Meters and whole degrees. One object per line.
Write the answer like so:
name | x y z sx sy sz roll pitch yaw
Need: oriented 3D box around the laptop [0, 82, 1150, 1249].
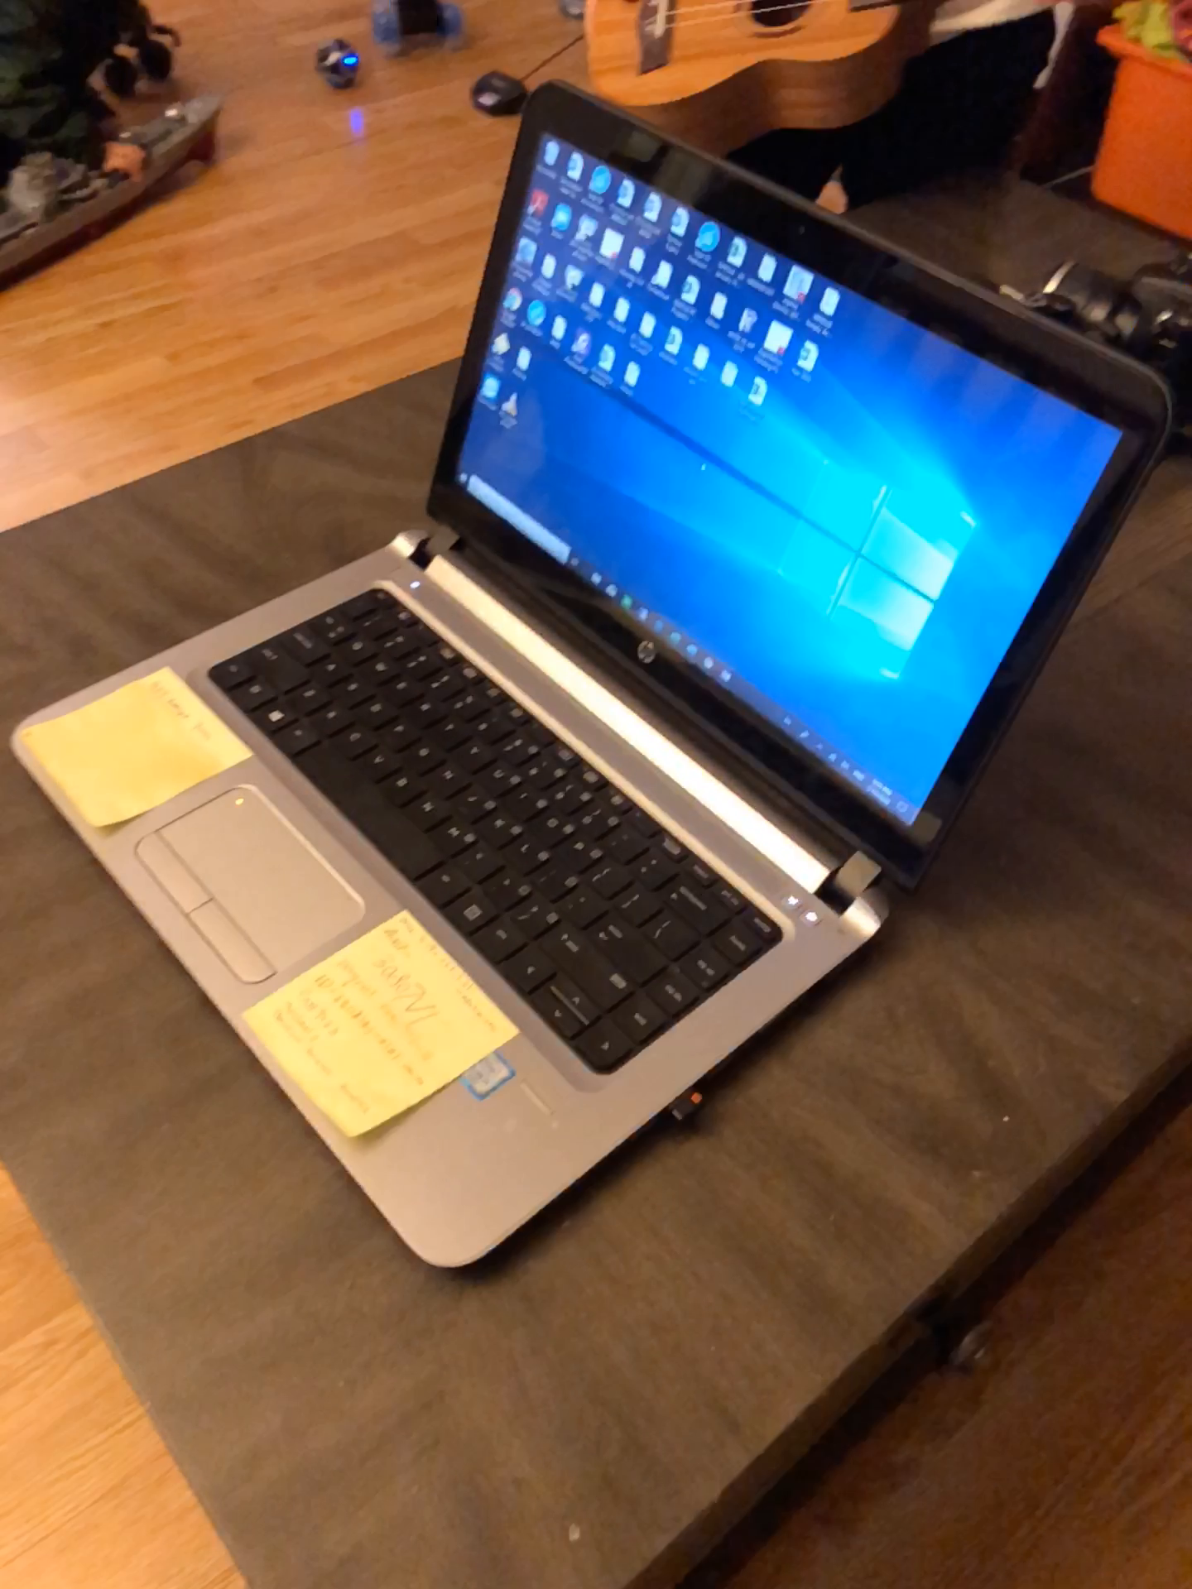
laptop | -0.042 -0.083 0.513 0.306 0.208 0.320 -32 57 -27
